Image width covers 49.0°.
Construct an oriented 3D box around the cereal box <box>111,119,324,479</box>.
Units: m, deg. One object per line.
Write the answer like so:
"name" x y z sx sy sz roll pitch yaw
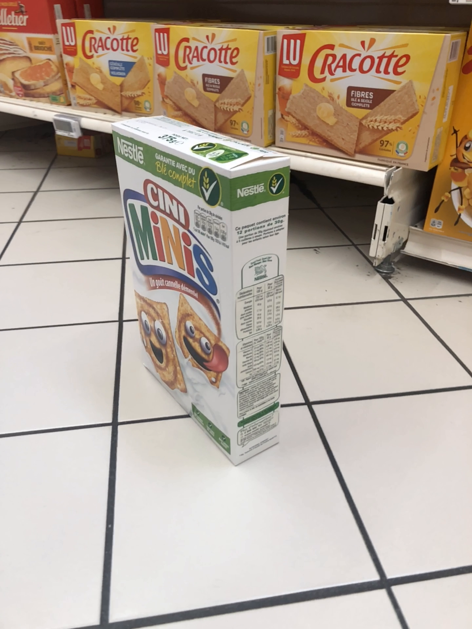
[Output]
"cereal box" -0.027 -0.022 0.481 0.070 0.268 0.200 -19 35 -31
